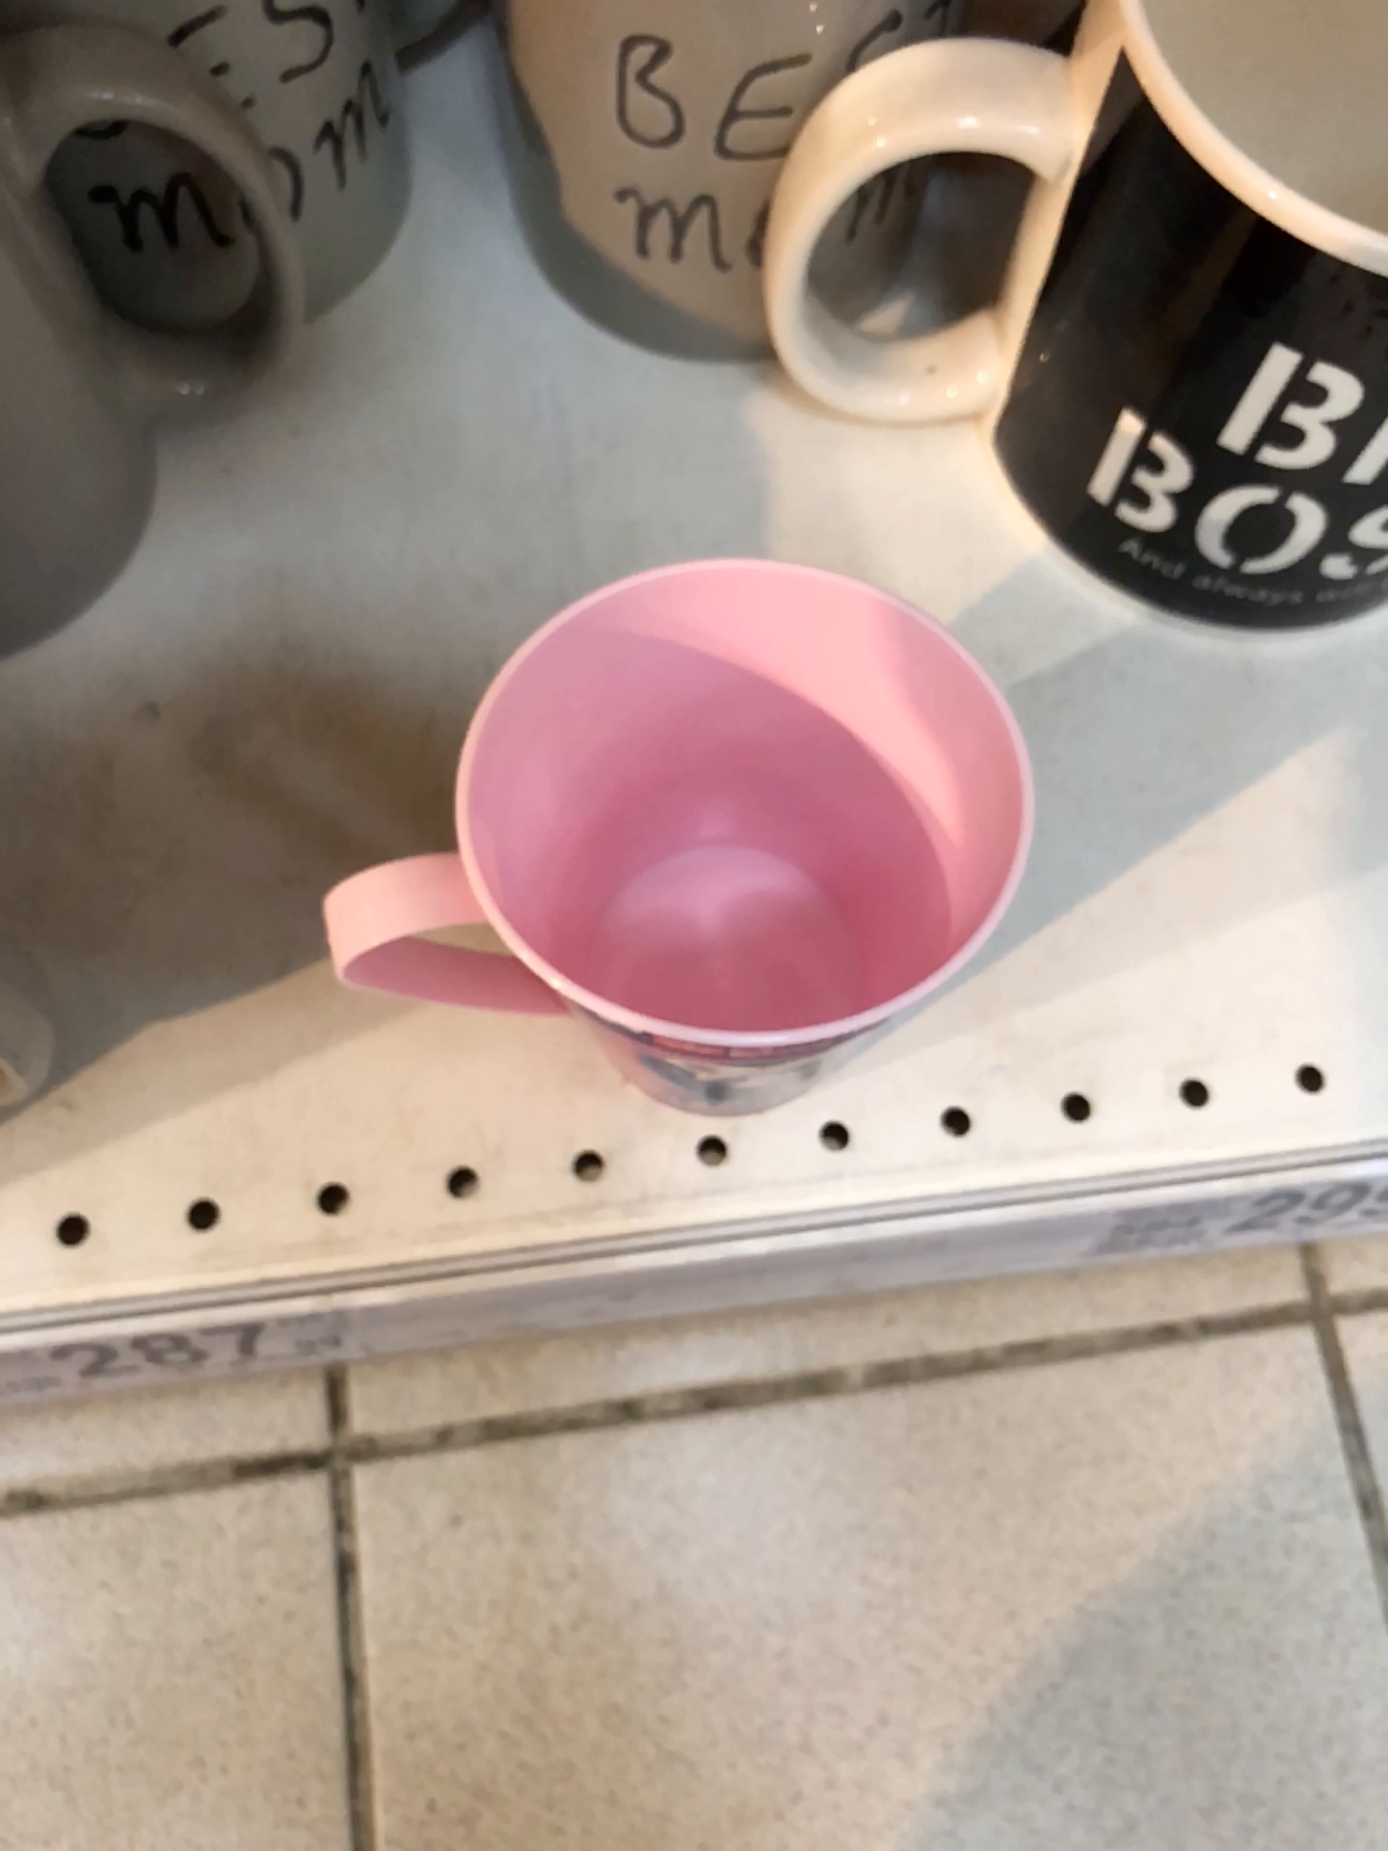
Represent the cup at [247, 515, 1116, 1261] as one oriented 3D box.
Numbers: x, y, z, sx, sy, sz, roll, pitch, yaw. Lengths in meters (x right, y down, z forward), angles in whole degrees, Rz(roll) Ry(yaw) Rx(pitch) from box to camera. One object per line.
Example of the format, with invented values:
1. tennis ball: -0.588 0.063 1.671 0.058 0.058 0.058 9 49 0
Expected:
1. cup: -0.005 0.001 0.274 0.108 0.105 0.078 -14 73 -7
